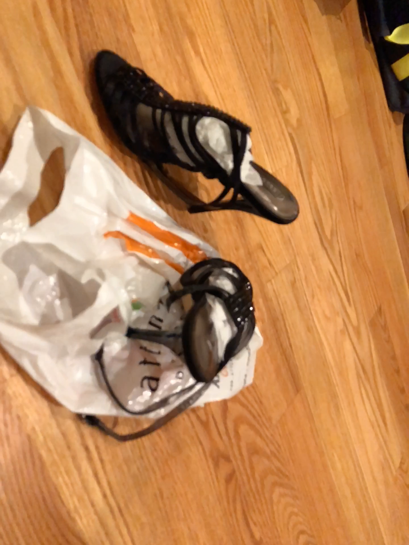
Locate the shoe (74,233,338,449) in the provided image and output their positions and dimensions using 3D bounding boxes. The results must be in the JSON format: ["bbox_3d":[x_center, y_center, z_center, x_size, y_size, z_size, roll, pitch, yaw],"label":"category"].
[{"bbox_3d":[0.017,0.045,0.405,0.218,0.112,0.092,-28,105,-47],"label":"shoe"}]

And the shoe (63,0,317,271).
[{"bbox_3d":[-0.002,-0.118,0.411,0.217,0.112,0.091,56,47,-27],"label":"shoe"}]
